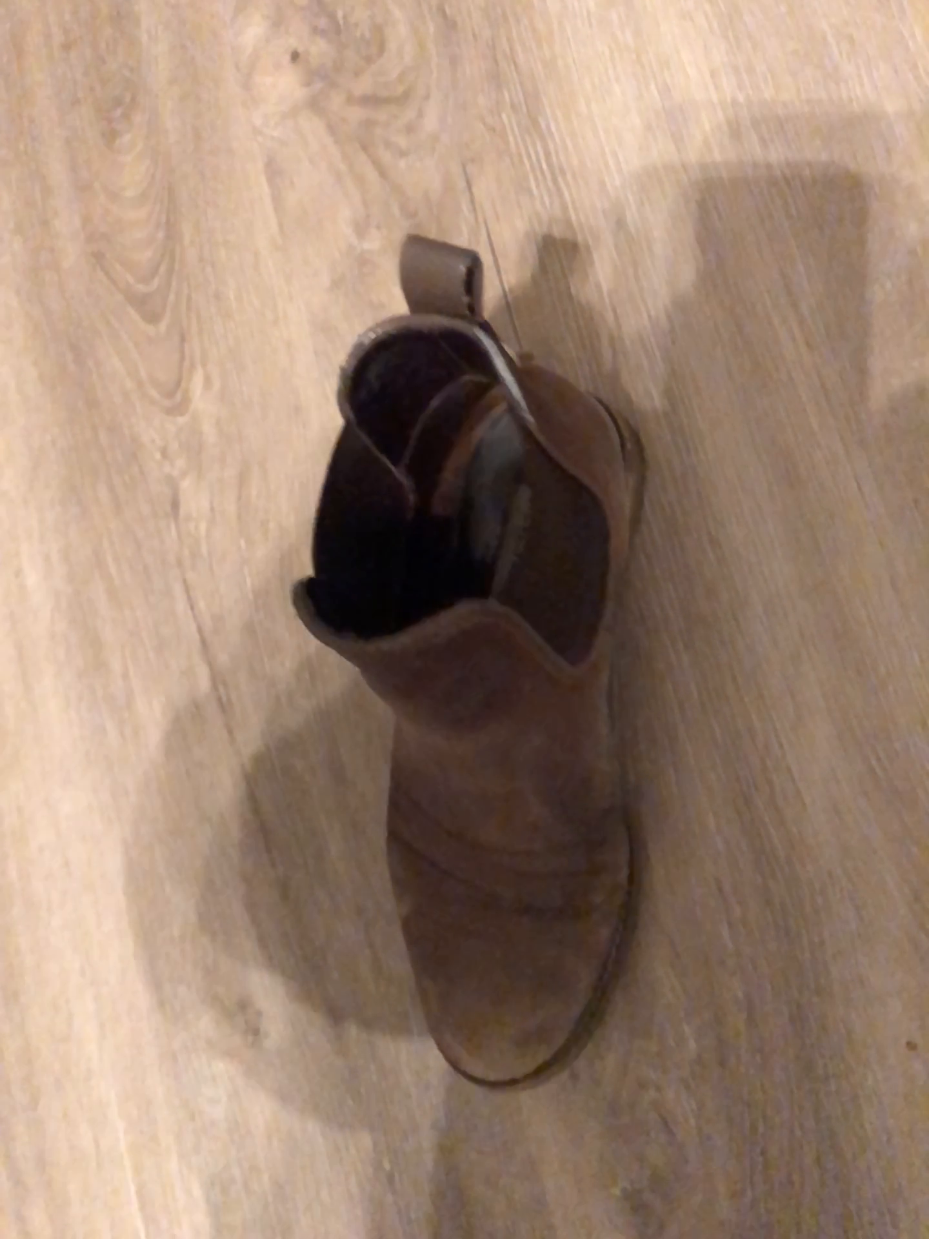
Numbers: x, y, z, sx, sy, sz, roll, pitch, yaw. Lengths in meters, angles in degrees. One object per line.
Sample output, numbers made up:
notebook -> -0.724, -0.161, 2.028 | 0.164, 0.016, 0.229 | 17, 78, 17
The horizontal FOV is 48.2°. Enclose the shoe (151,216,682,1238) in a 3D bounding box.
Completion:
shoe -> -0.002, 0.028, 0.320 | 0.100, 0.140, 0.240 | 3, 87, 21
